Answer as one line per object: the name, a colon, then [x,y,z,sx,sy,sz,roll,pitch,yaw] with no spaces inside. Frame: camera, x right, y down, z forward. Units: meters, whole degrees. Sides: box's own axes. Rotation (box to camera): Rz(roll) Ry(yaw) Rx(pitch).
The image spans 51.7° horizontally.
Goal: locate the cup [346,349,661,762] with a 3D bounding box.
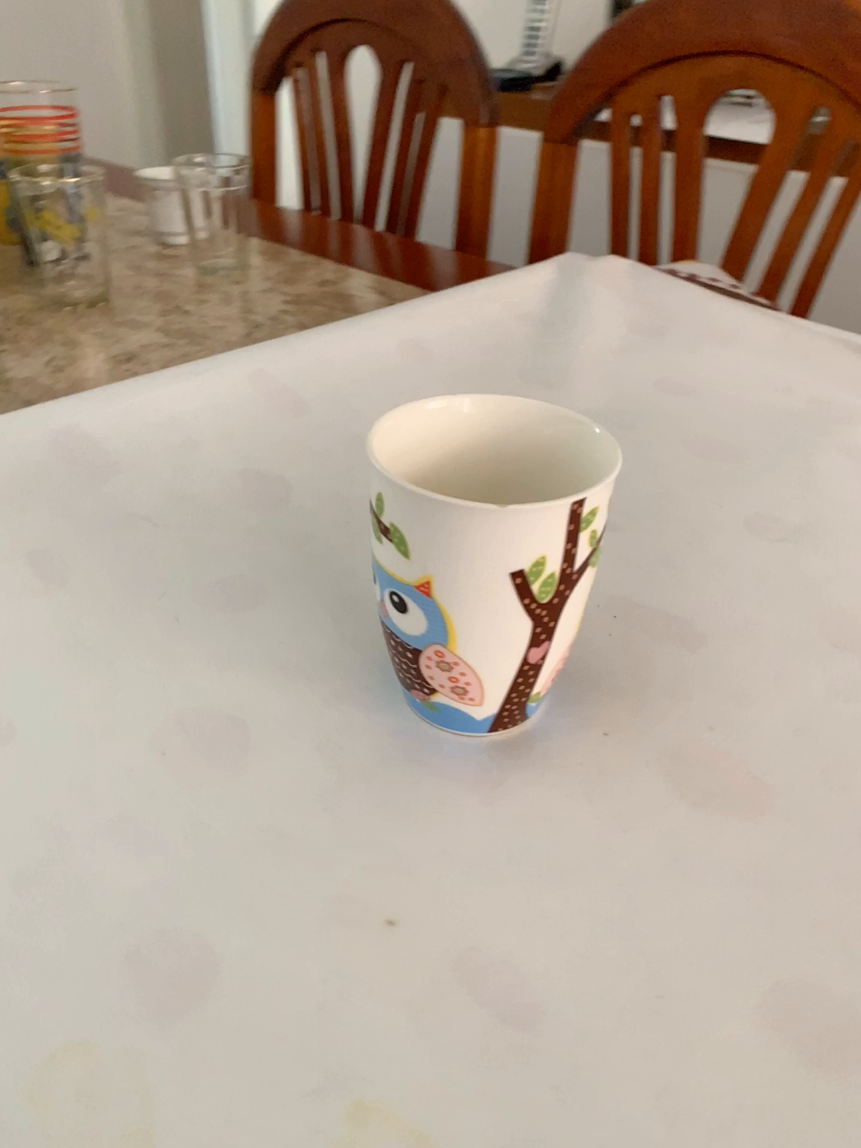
cup: [0.015,-0.012,0.319,0.080,0.099,0.111,-4,34,-9]
